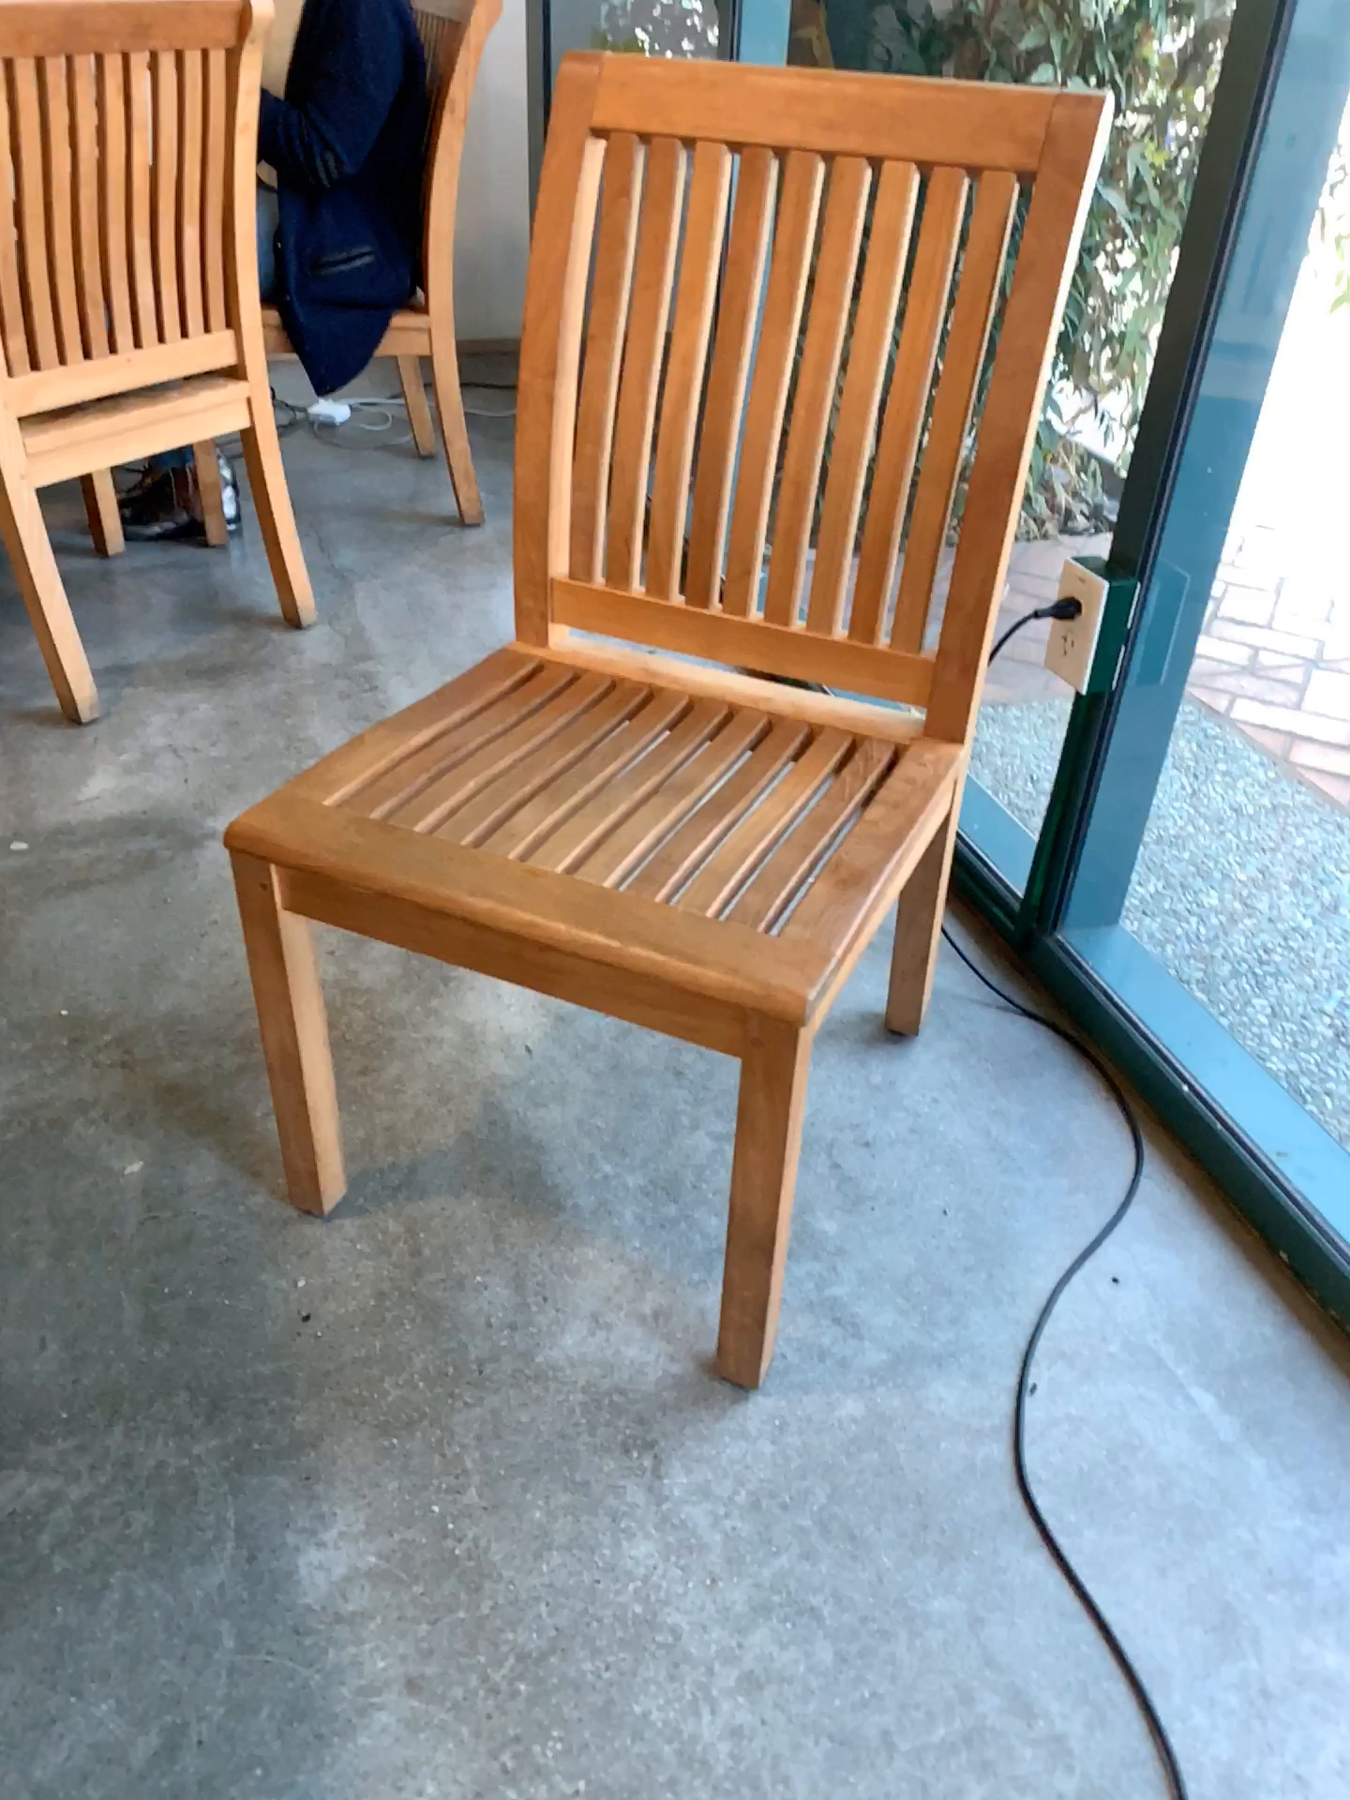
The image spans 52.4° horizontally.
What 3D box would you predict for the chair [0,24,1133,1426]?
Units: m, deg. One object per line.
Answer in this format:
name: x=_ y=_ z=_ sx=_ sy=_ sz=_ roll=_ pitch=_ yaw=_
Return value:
chair: x=-0.037 y=-0.178 z=1.167 sx=0.531 sy=0.915 sz=0.612 roll=17 pitch=37 yaw=19
